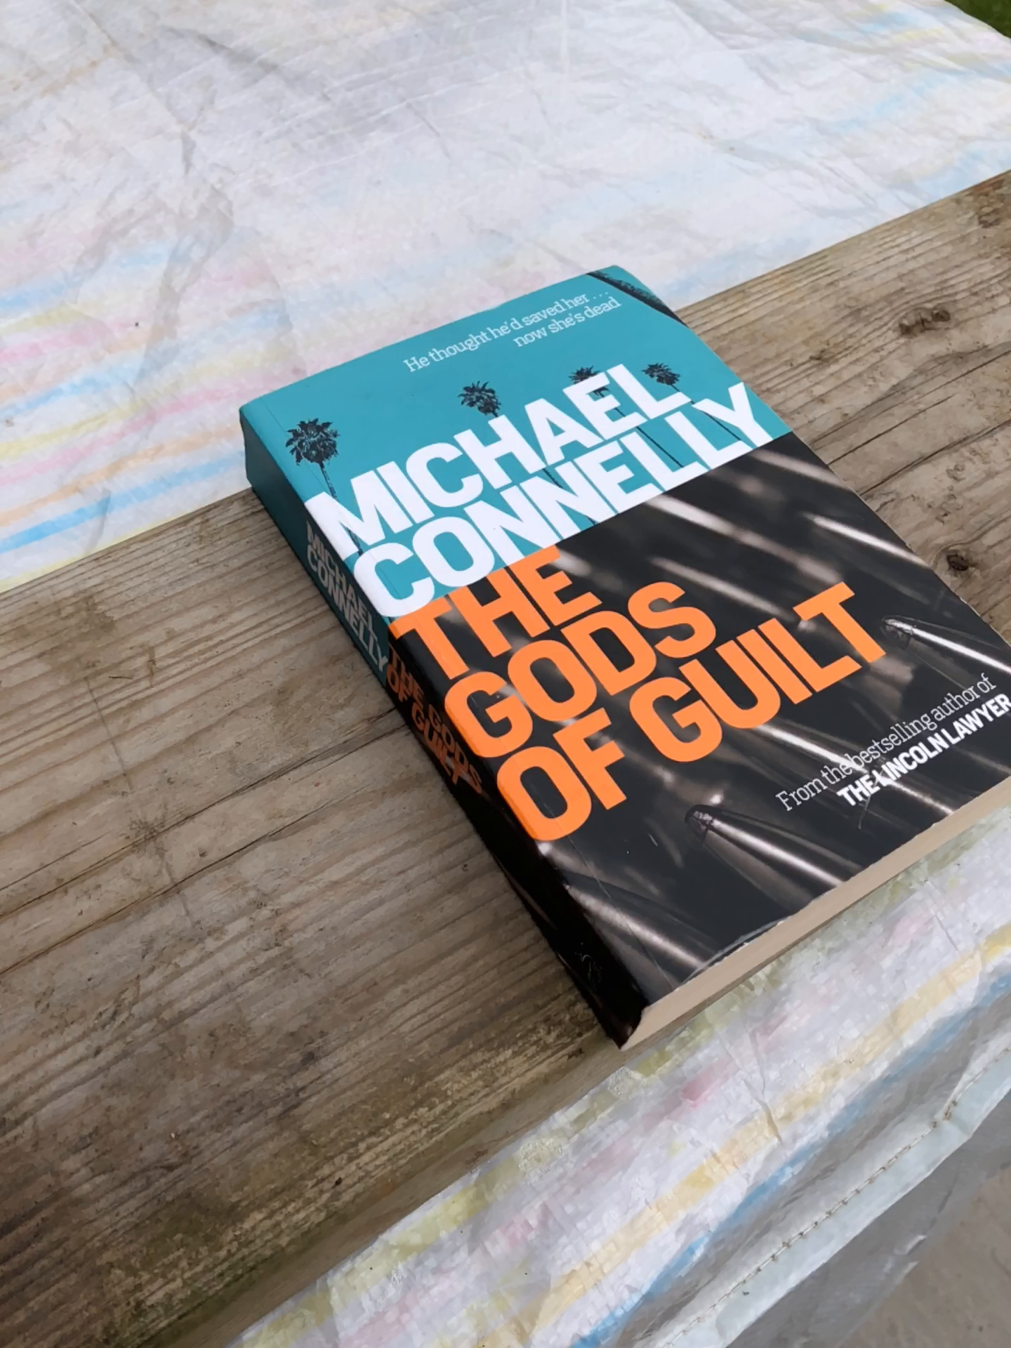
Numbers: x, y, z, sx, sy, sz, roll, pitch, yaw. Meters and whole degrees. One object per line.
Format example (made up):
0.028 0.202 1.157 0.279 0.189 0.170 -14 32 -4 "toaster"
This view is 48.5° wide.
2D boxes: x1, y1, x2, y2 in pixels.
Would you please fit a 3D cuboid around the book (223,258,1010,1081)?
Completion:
0.033 -0.021 0.304 0.140 0.040 0.201 -26 61 -20 "book"
